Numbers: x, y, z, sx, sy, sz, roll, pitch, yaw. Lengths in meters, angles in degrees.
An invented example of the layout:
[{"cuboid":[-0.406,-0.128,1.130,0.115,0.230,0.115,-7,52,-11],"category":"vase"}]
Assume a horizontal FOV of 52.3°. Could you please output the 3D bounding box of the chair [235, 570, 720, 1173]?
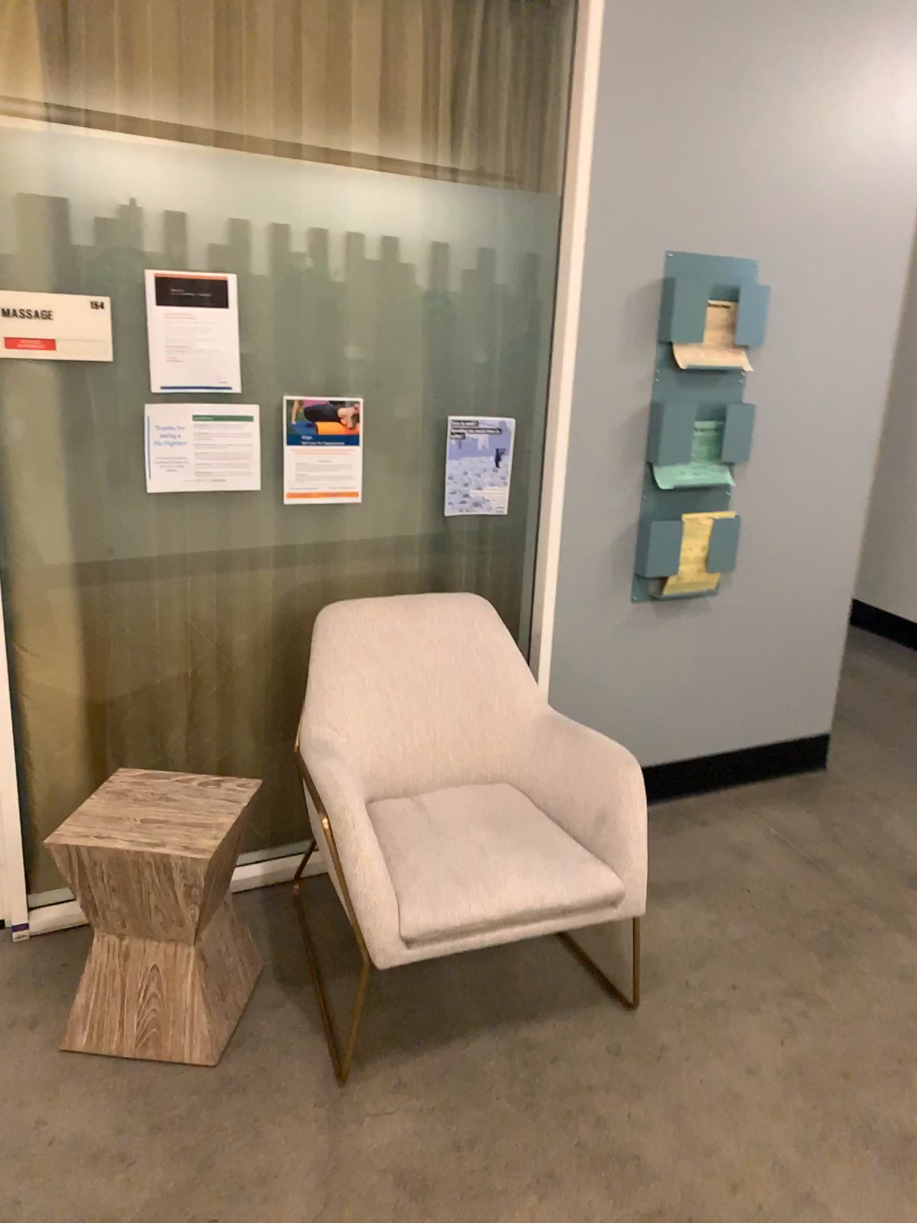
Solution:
[{"cuboid":[-0.038,0.478,2.200,0.780,0.926,0.874,-4,18,-24],"category":"chair"}]
